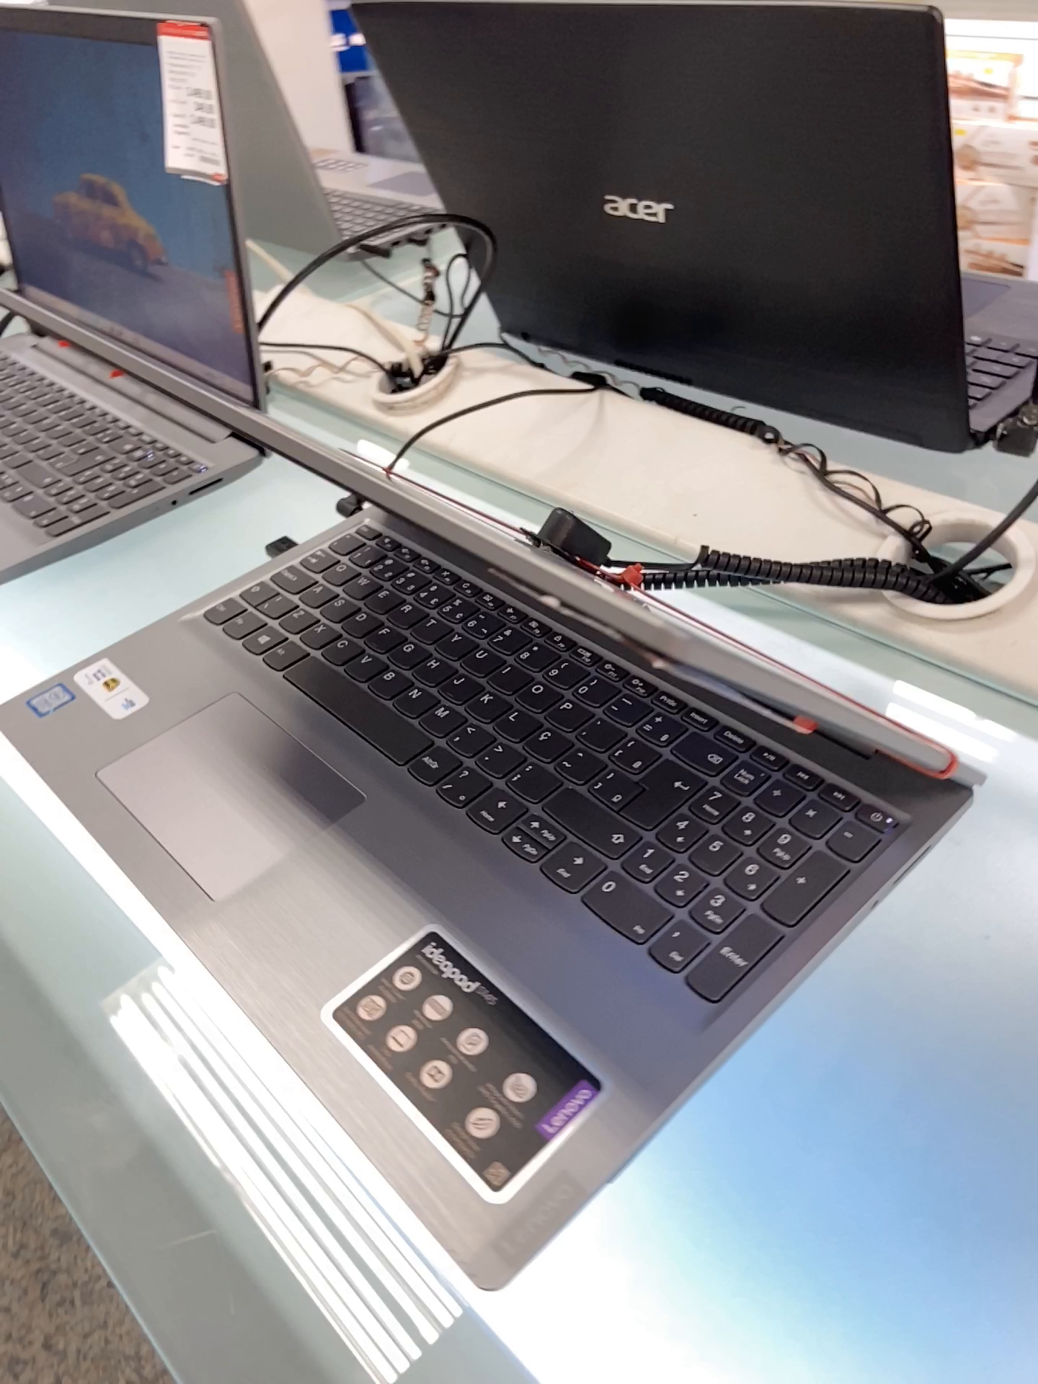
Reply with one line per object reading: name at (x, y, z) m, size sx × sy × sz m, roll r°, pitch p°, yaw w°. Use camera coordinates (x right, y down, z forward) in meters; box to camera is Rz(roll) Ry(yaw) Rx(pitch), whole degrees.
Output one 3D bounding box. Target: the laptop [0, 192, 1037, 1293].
laptop at (-0.051, -0.041, 0.404) m, size 0.247 × 0.167 × 0.362 m, roll -34°, pitch 46°, yaw -28°
